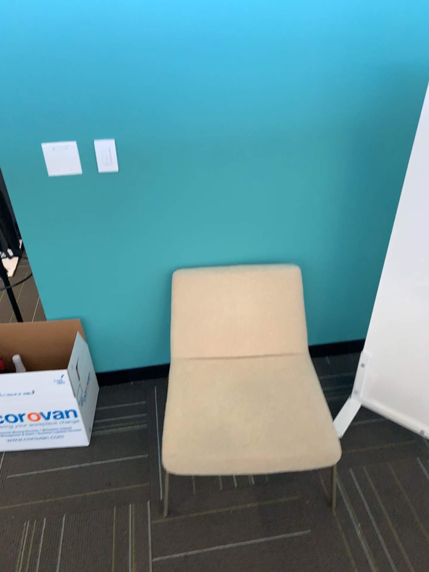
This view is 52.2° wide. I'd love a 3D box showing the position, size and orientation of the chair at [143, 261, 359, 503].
[{"bbox_3d":[0.093,0.350,1.790,0.660,0.567,0.734,-3,35,-3],"label":"chair"}]
